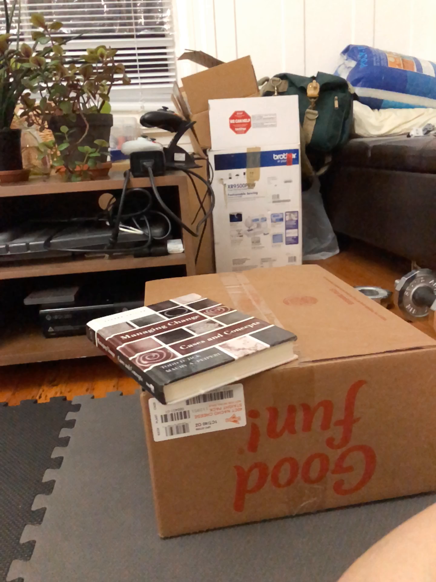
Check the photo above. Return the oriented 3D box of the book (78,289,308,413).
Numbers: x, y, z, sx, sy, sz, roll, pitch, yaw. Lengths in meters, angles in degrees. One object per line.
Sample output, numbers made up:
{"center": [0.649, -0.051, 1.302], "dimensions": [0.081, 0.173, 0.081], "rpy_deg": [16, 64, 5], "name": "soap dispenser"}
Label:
{"center": [-0.044, 0.055, 0.590], "dimensions": [0.180, 0.030, 0.251], "rpy_deg": [-14, 19, -30], "name": "book"}
